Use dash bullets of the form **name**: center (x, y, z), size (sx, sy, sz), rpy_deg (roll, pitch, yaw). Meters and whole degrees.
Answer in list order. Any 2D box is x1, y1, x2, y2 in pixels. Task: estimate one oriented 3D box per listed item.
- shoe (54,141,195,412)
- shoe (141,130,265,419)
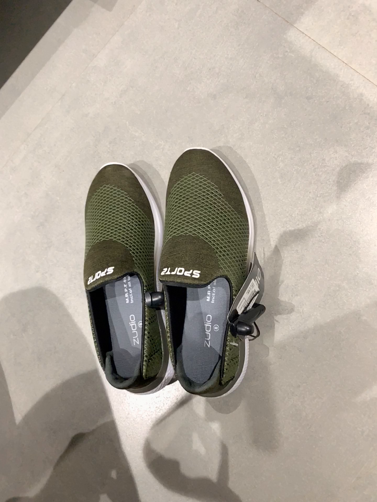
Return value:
- **shoe**: center (-0.075, 0.031, 0.465), size (0.100, 0.100, 0.280), rpy_deg (-11, 81, 18)
- **shoe**: center (0.018, 0.026, 0.437), size (0.100, 0.100, 0.280), rpy_deg (-5, 83, 19)
